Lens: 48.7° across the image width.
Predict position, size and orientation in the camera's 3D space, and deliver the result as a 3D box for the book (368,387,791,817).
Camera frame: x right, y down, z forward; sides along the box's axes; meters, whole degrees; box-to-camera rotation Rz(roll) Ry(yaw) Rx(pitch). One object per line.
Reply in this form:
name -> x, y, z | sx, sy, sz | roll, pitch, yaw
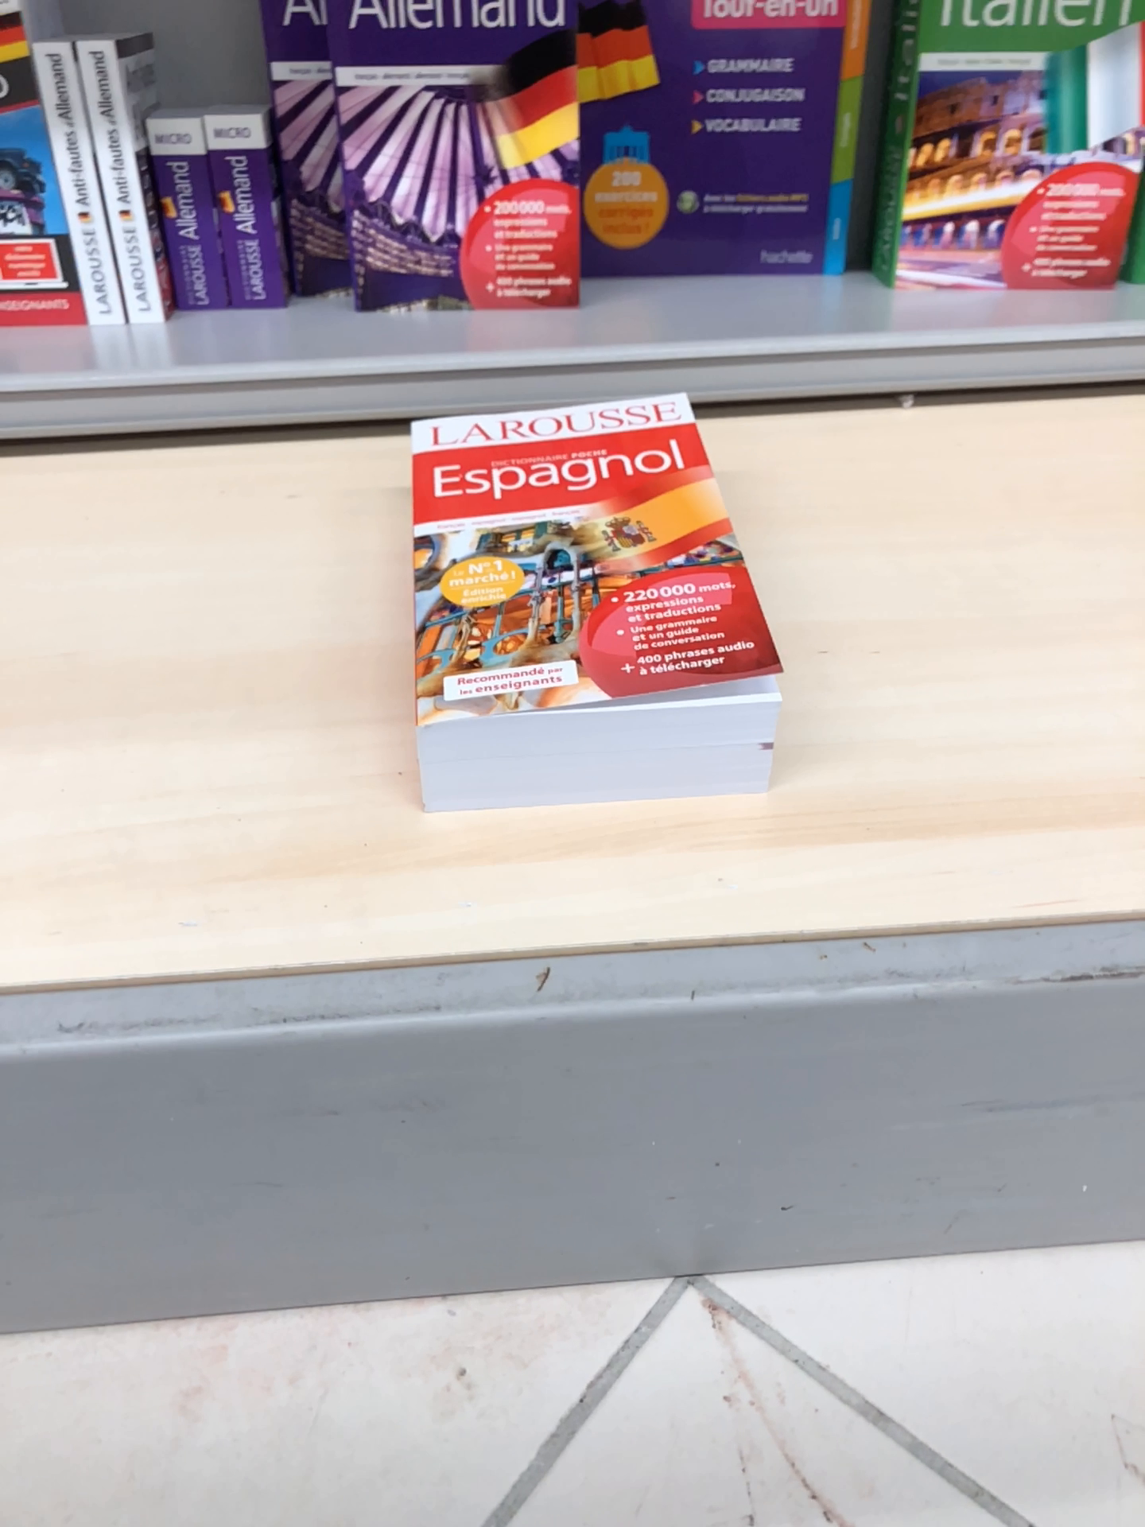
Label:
book -> -0.006, -0.065, 0.431 | 0.117, 0.044, 0.183 | -3, 42, -5
